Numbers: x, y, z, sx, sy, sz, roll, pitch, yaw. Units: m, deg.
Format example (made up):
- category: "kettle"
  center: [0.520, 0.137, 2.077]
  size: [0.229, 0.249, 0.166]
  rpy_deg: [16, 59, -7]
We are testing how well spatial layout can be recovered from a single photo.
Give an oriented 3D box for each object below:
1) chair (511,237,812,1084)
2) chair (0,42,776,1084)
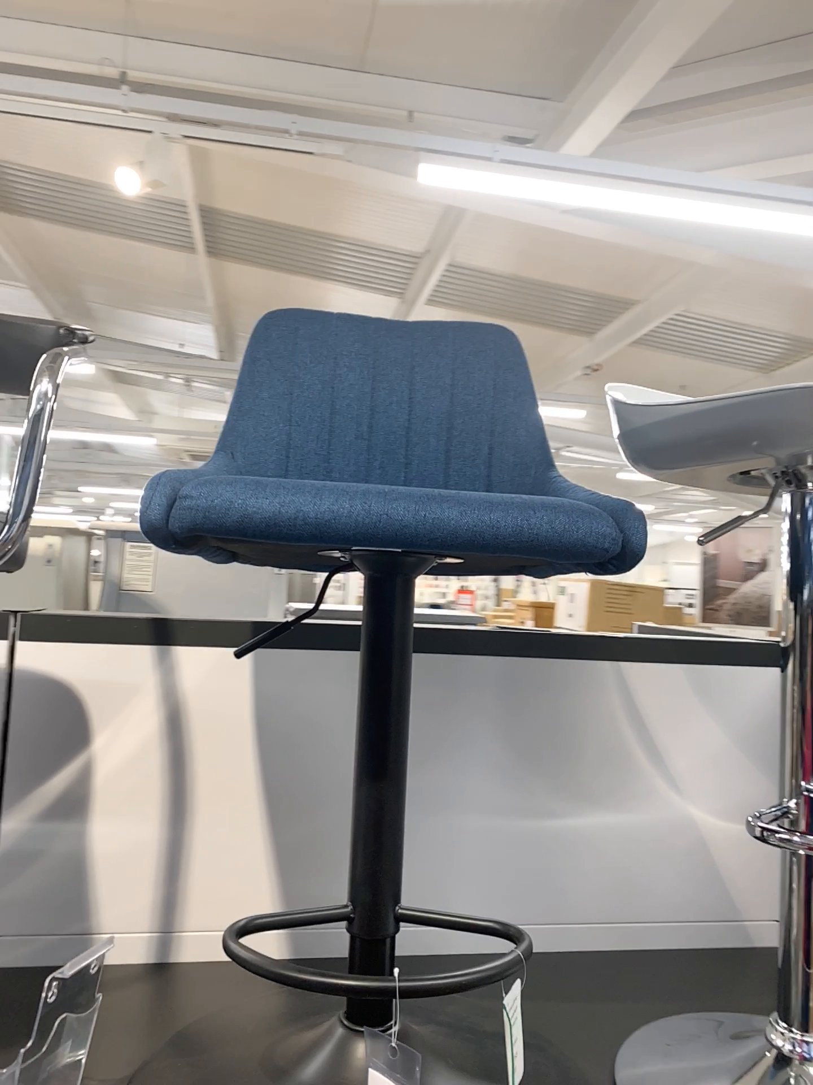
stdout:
- category: "chair"
  center: [0.376, 0.165, 0.836]
  size: [0.409, 0.763, 0.387]
  rpy_deg: [4, -4, -10]
- category: "chair"
  center: [-0.028, 0.106, 0.852]
  size: [0.539, 0.873, 0.507]
  rpy_deg: [4, -4, -10]
